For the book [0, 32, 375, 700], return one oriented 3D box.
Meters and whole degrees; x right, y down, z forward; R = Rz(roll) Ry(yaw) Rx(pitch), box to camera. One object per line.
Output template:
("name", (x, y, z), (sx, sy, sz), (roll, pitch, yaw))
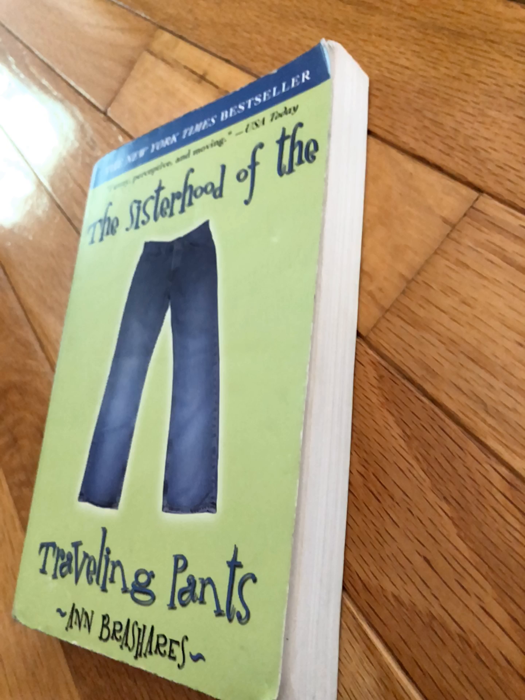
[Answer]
("book", (-0.032, 0.002, 0.222), (0.142, 0.025, 0.209), (-8, 68, 38))
